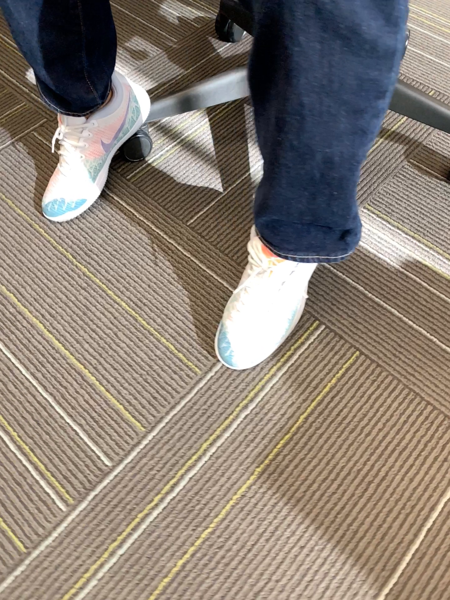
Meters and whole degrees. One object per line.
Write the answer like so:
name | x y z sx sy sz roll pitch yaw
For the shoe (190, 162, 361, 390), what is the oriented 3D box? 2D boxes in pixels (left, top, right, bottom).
shoe | 0.081 -0.037 0.695 0.113 0.109 0.310 25 76 14

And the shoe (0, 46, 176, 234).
shoe | -0.228 -0.279 0.796 0.107 0.109 0.303 32 74 17
